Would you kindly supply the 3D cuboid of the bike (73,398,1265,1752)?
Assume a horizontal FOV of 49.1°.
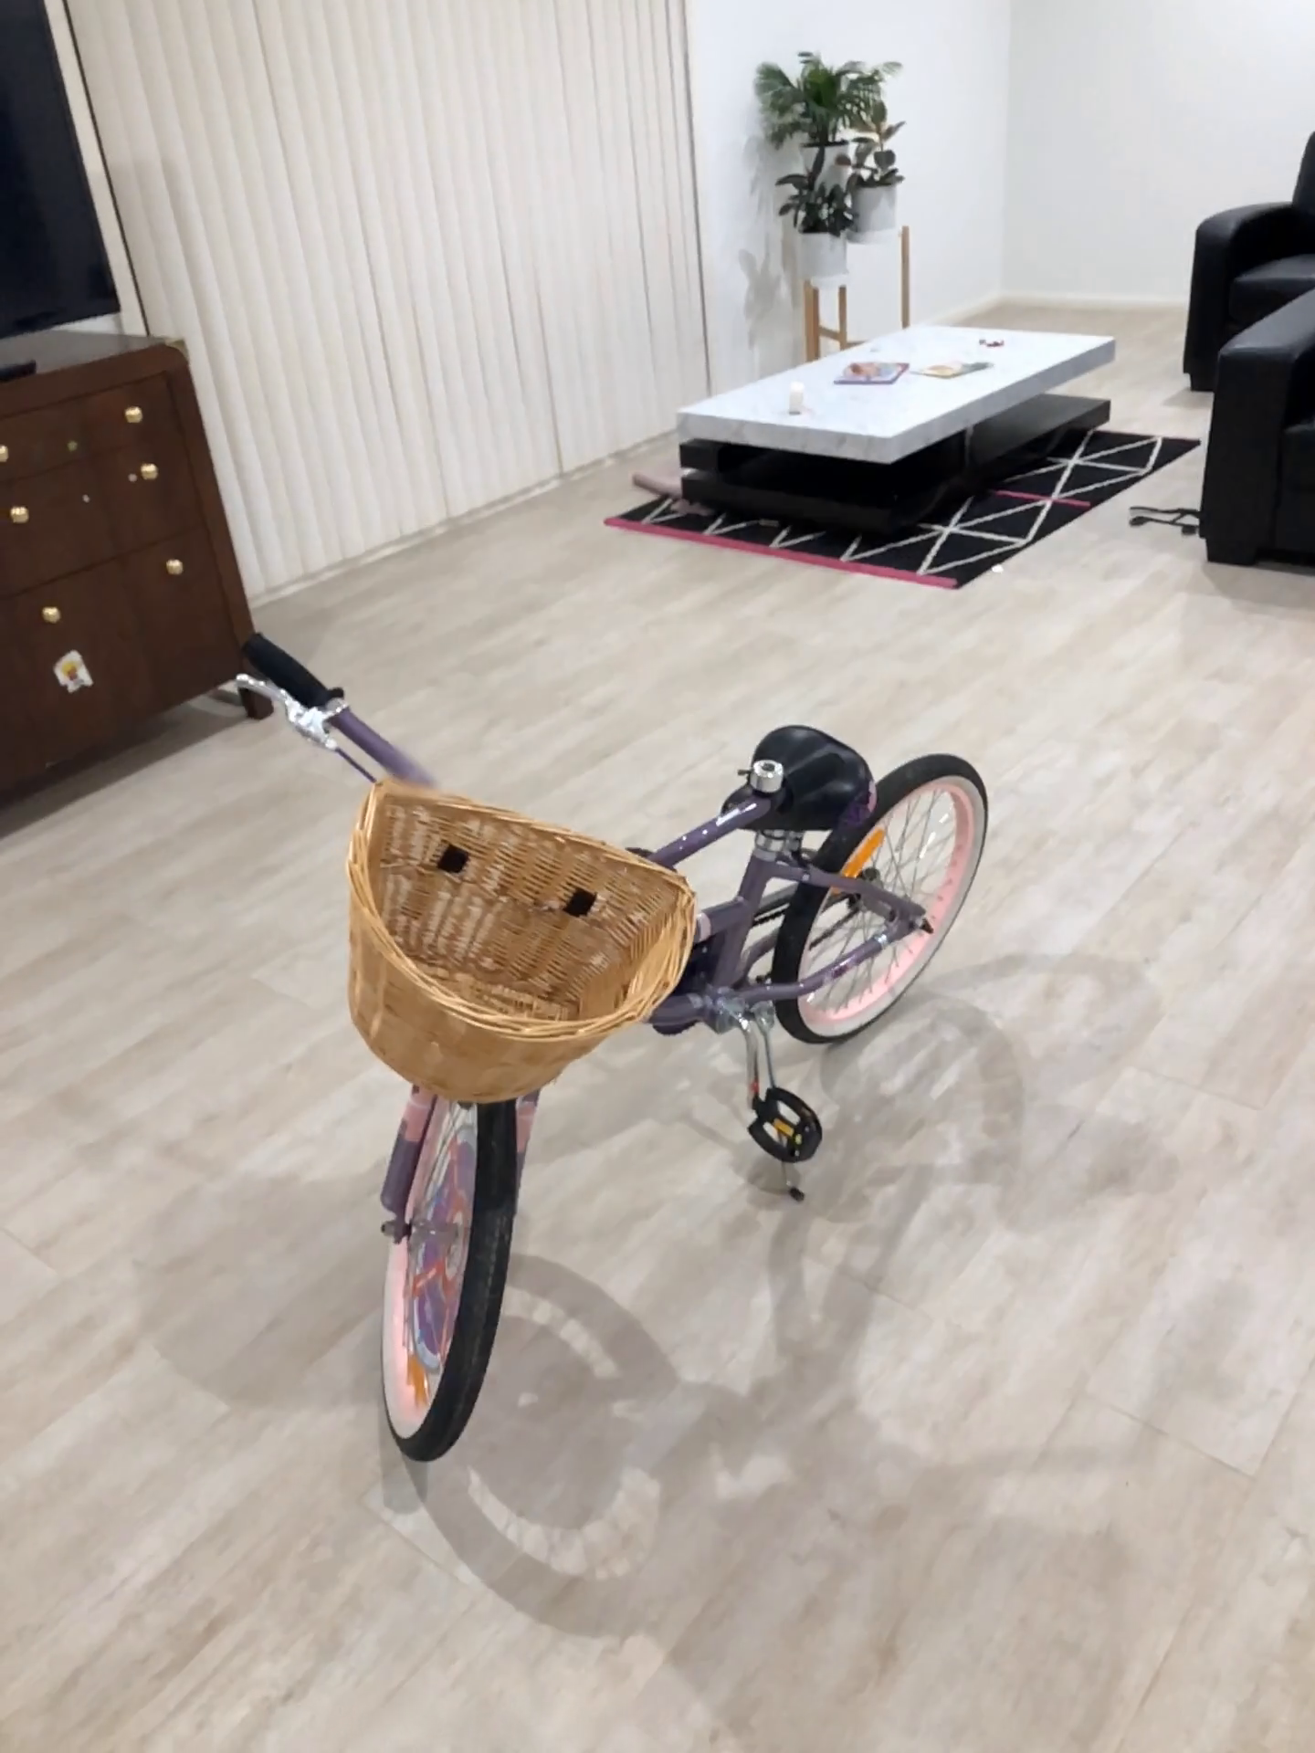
[{"bbox_3d":[0.115,0.101,1.775,0.748,0.877,1.220,17,42,34],"label":"bike"}]
